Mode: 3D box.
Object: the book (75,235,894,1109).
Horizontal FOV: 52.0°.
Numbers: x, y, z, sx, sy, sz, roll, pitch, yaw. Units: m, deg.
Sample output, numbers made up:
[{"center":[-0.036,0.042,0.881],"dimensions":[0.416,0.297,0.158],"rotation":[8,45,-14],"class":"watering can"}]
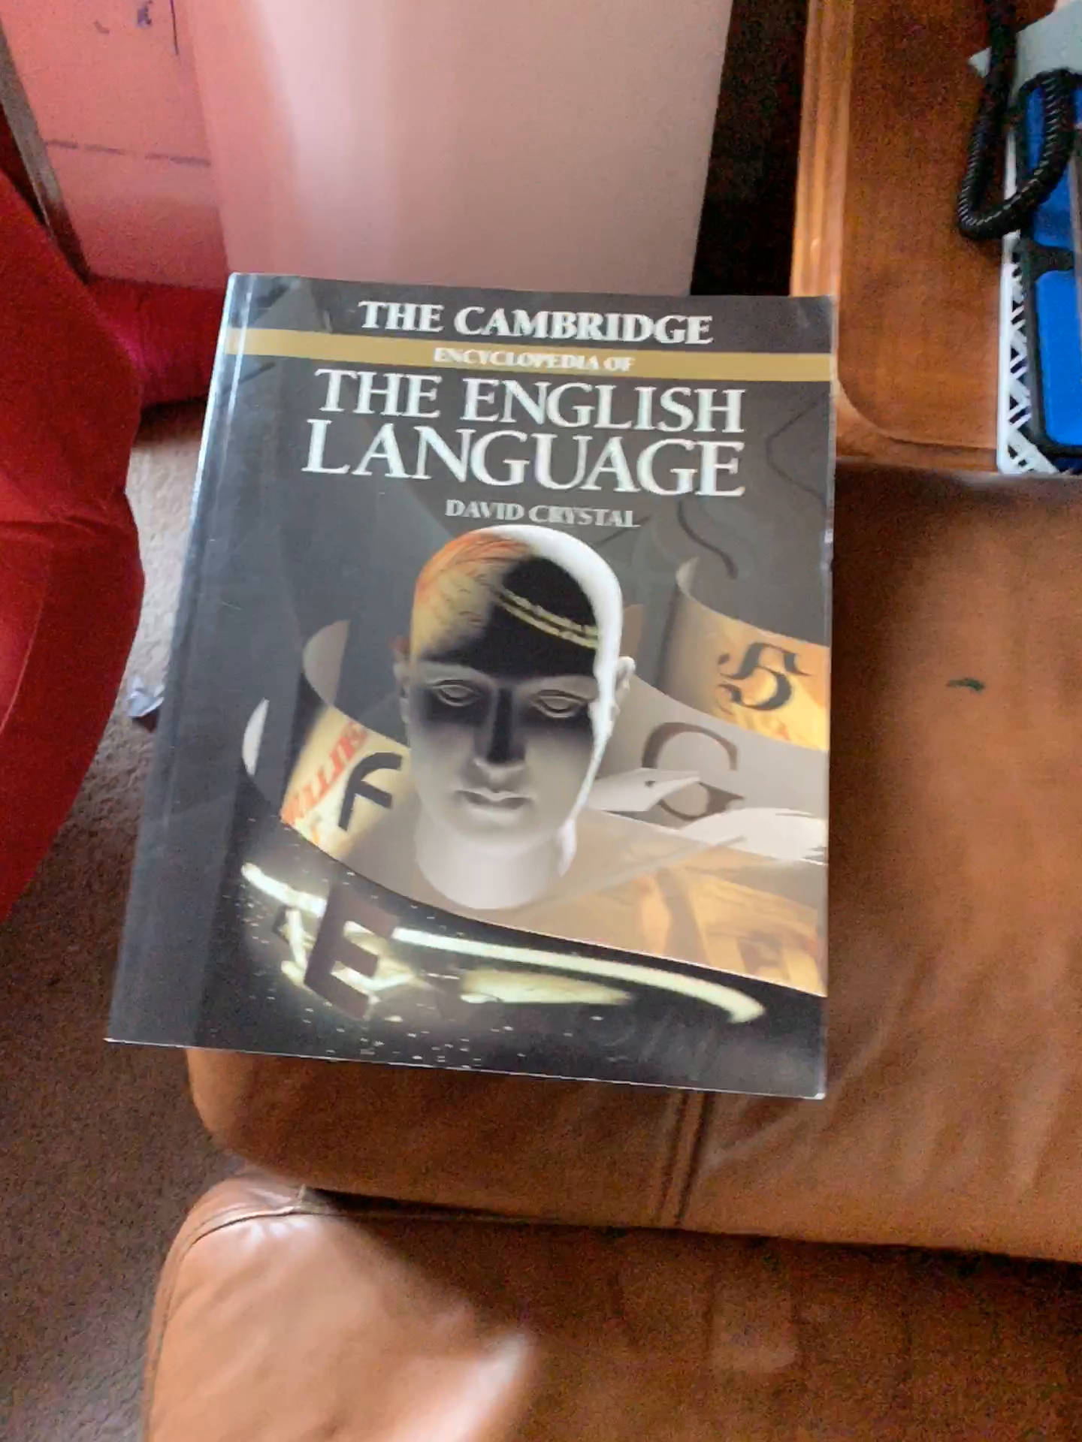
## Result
[{"center":[-0.007,-0.025,0.385],"dimensions":[0.240,0.050,0.280],"rotation":[4,75,1],"class":"book"}]
